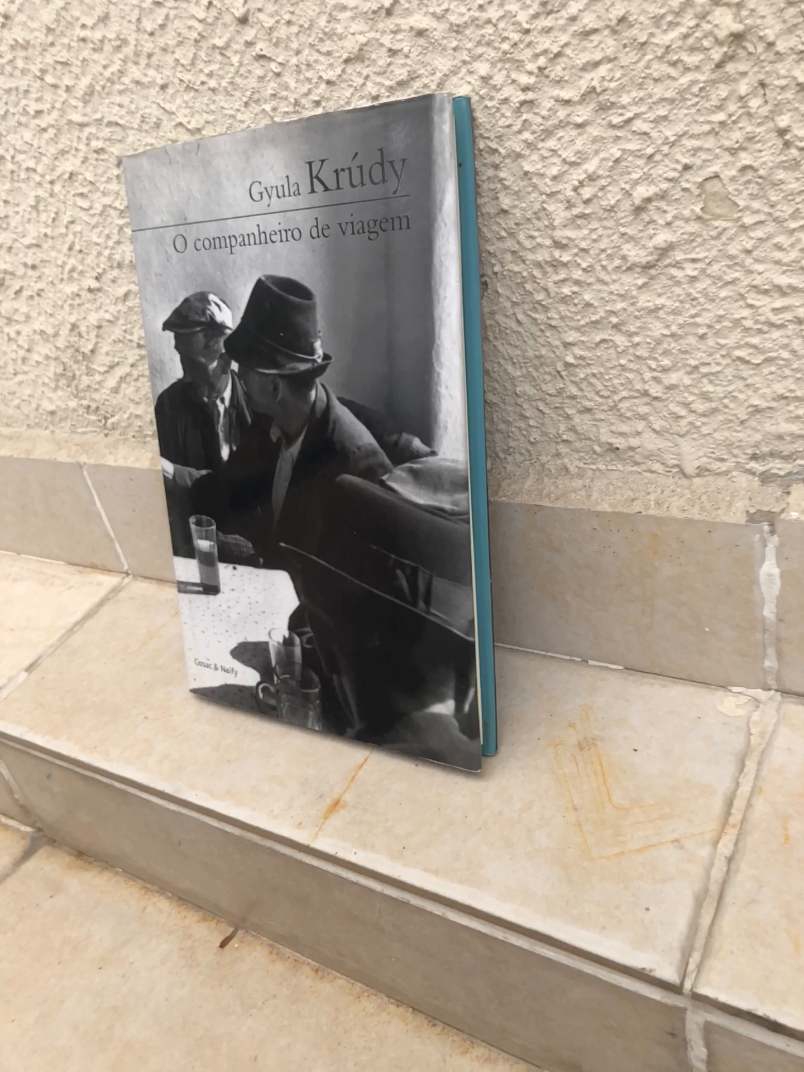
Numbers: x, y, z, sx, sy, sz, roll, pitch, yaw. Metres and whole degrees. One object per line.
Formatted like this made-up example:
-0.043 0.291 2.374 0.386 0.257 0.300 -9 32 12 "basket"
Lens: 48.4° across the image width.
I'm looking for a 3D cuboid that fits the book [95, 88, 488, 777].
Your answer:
-0.039 -0.030 0.309 0.137 0.205 0.019 7 18 33 "book"
